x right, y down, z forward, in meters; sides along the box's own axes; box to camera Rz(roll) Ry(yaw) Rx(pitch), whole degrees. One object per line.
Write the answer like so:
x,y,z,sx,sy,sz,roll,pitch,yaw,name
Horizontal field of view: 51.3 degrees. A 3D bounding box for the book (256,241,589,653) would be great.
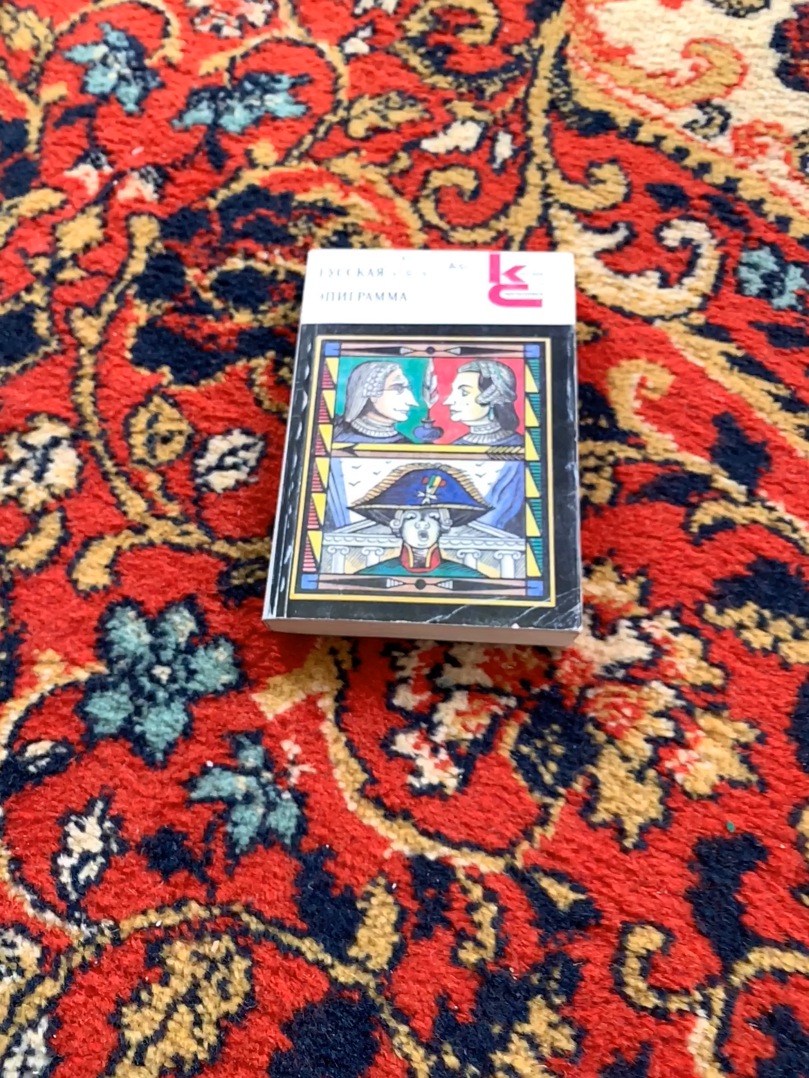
0.011,-0.042,0.320,0.110,0.022,0.164,2,67,5,book
